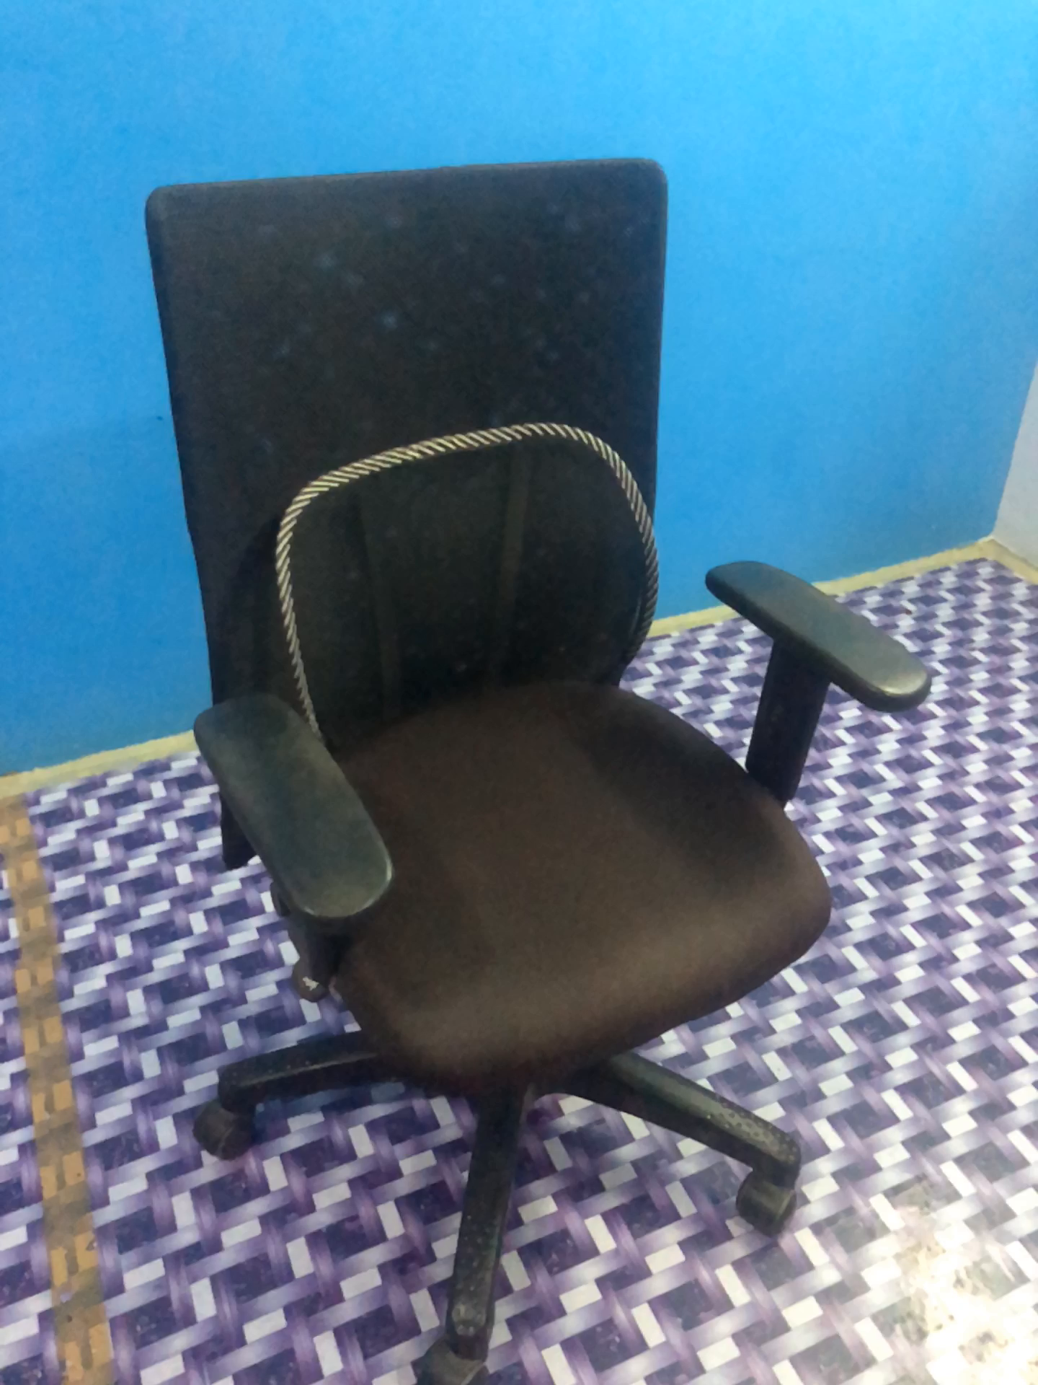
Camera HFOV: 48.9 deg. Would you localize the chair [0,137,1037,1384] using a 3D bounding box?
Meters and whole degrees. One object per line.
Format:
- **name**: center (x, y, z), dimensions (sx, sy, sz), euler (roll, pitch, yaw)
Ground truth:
- **chair**: center (-0.023, 0.051, 1.041), dimensions (0.662, 0.885, 0.672), euler (-18, 39, -27)
